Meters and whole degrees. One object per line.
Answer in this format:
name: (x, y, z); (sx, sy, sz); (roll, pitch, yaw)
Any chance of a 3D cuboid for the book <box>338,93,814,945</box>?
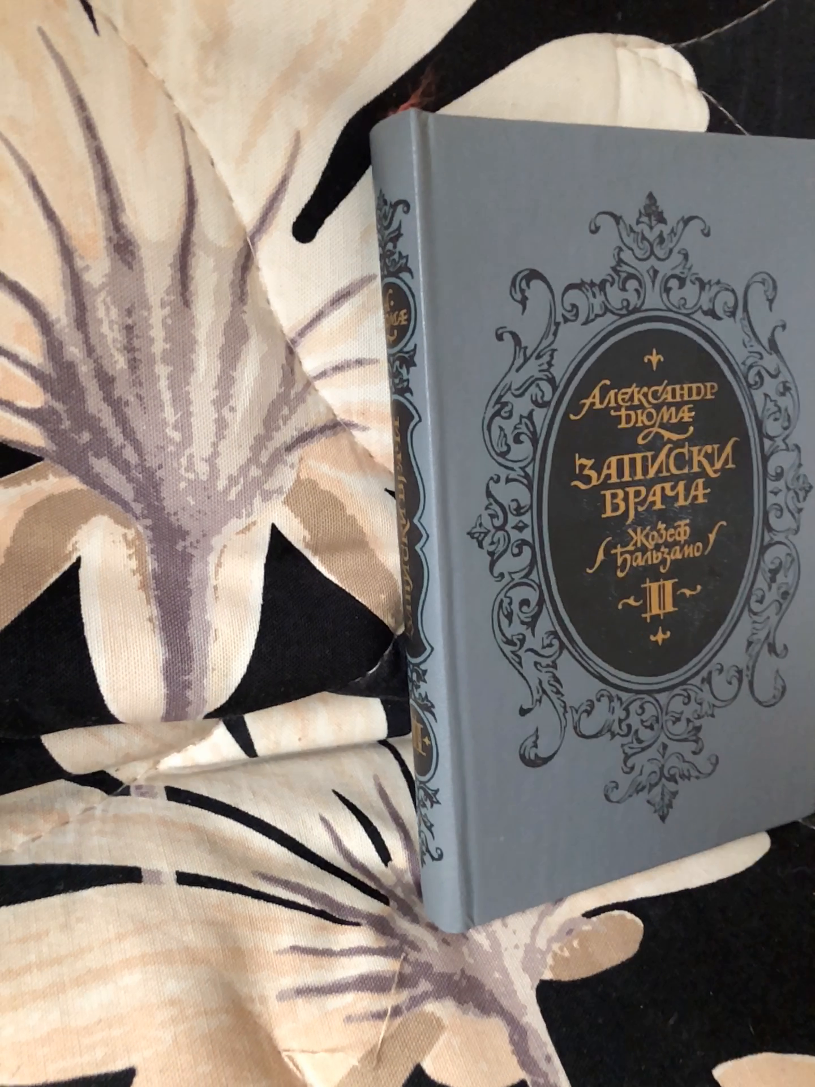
book: (0.060, -0.009, 0.258); (0.140, 0.030, 0.206); (-8, 99, -23)
